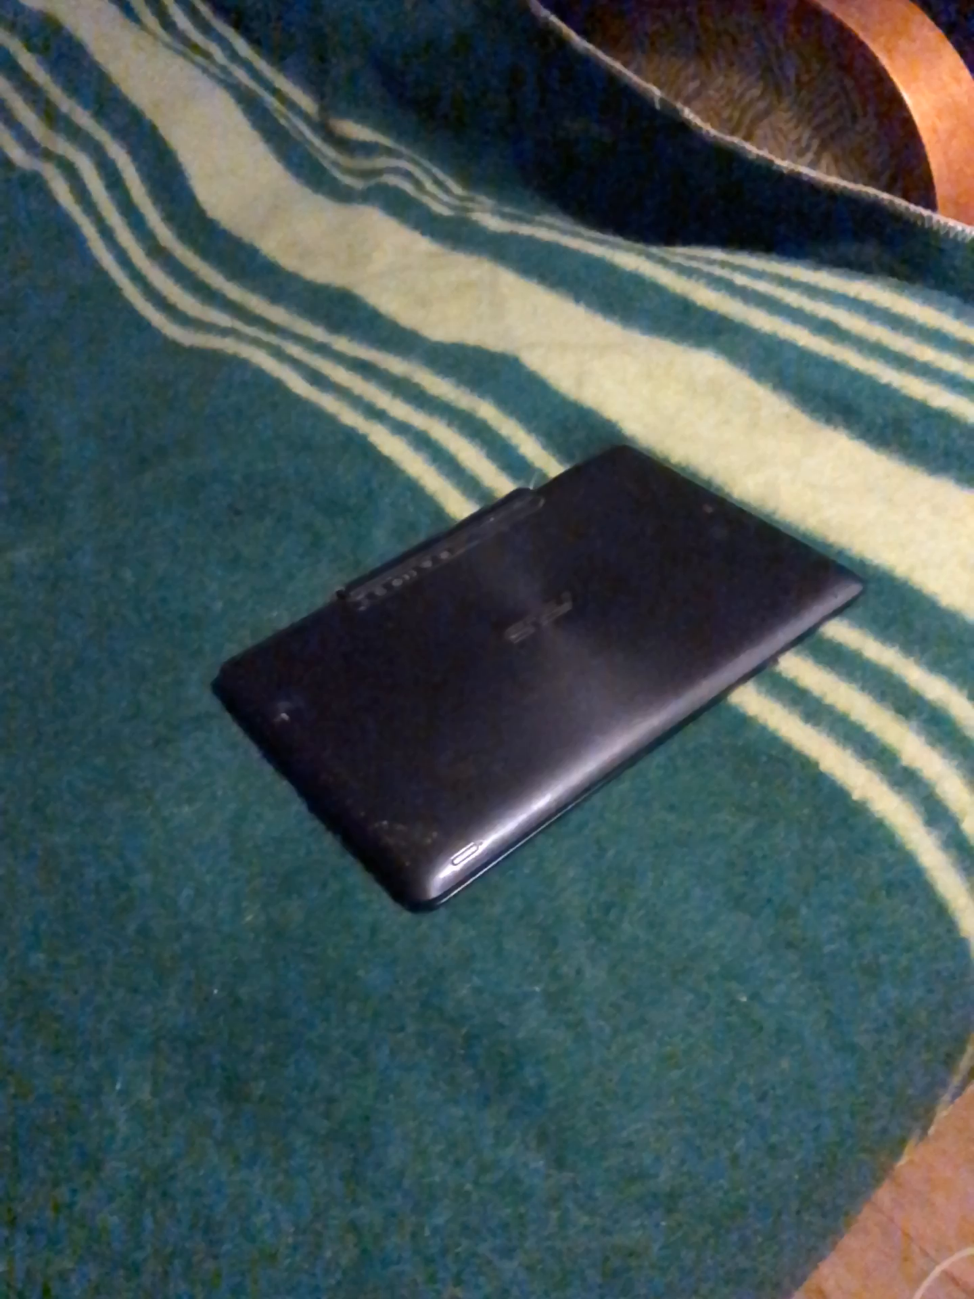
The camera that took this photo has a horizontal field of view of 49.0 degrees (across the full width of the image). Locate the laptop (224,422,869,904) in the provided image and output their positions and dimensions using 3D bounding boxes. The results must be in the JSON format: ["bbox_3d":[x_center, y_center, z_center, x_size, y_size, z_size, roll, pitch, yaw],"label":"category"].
[{"bbox_3d":[0.029,-0.016,0.508,0.262,0.017,0.167,-32,50,-24],"label":"laptop"}]
